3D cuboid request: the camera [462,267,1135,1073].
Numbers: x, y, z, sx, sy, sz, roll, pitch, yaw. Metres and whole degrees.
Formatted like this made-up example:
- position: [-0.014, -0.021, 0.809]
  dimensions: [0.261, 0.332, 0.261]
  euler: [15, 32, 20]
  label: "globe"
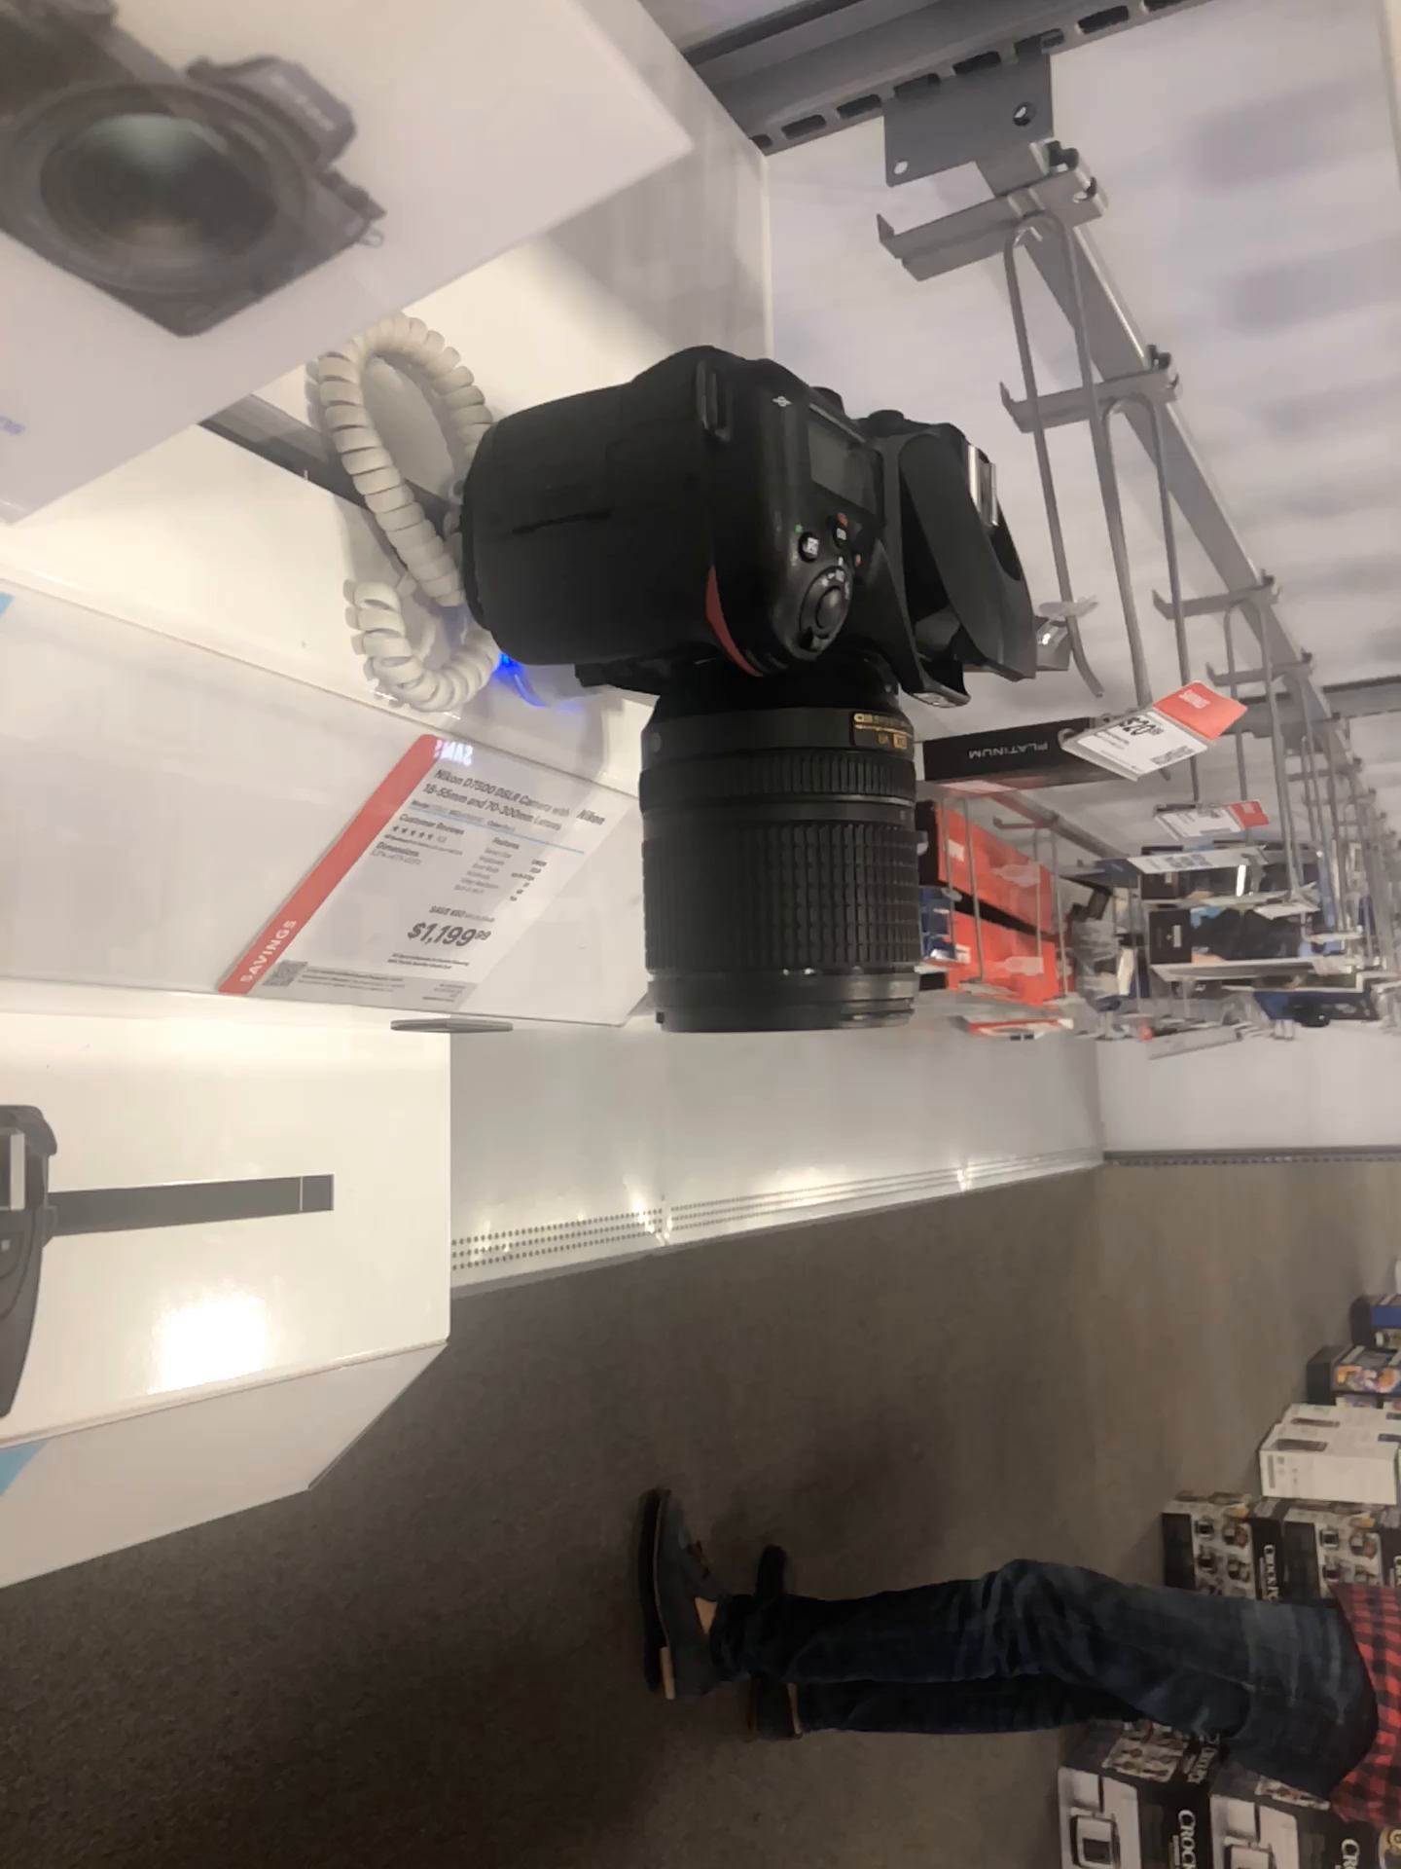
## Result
- position: [0.035, -0.051, 0.409]
  dimensions: [0.161, 0.109, 0.160]
  euler: [1, 84, -62]
  label: "camera"
